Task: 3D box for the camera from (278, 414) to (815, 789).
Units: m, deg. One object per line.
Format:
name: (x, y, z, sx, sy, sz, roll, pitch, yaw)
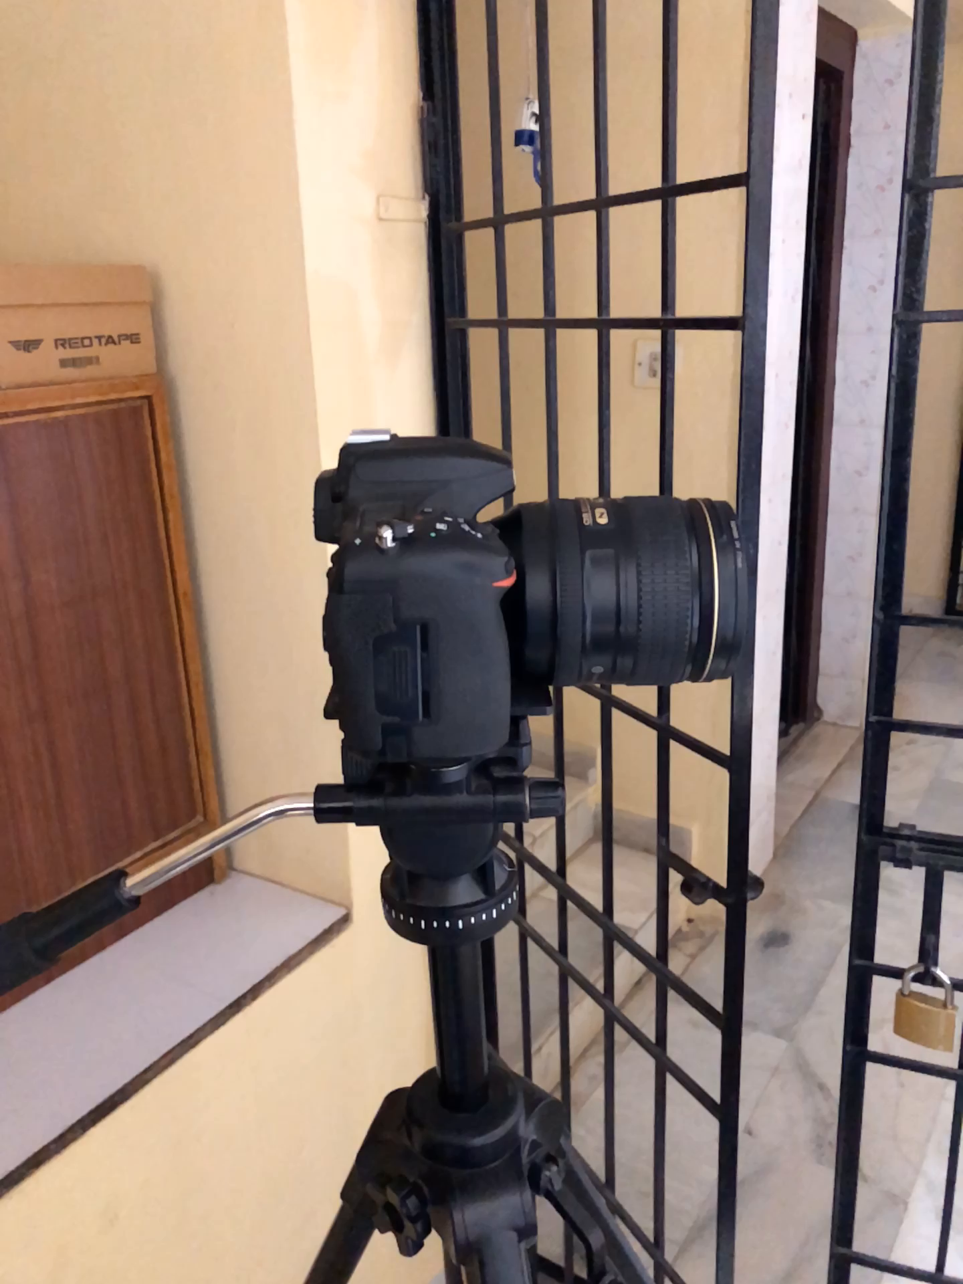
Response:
camera: (0.022, -0.028, 0.434, 0.171, 0.105, 0.171, -2, 17, 0)
